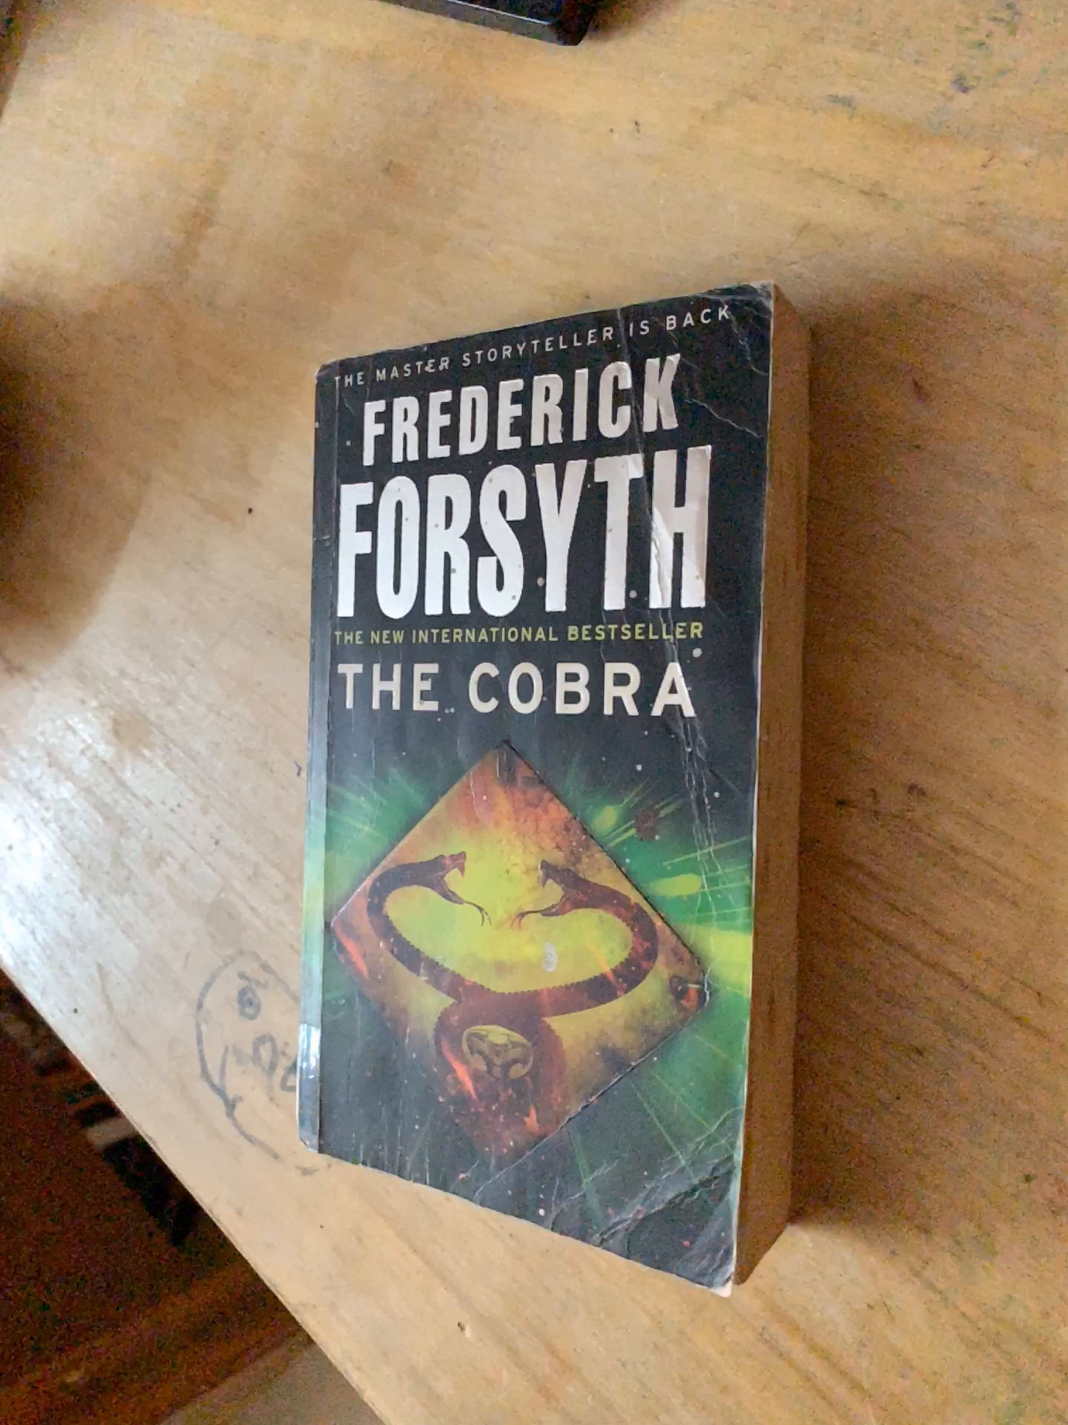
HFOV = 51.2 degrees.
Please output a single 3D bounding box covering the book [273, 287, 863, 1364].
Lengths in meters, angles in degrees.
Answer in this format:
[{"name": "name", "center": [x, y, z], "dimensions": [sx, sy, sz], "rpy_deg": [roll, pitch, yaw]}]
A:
[{"name": "book", "center": [0.004, 0.016, 0.209], "dimensions": [0.100, 0.040, 0.160], "rpy_deg": [1, 89, 33]}]
